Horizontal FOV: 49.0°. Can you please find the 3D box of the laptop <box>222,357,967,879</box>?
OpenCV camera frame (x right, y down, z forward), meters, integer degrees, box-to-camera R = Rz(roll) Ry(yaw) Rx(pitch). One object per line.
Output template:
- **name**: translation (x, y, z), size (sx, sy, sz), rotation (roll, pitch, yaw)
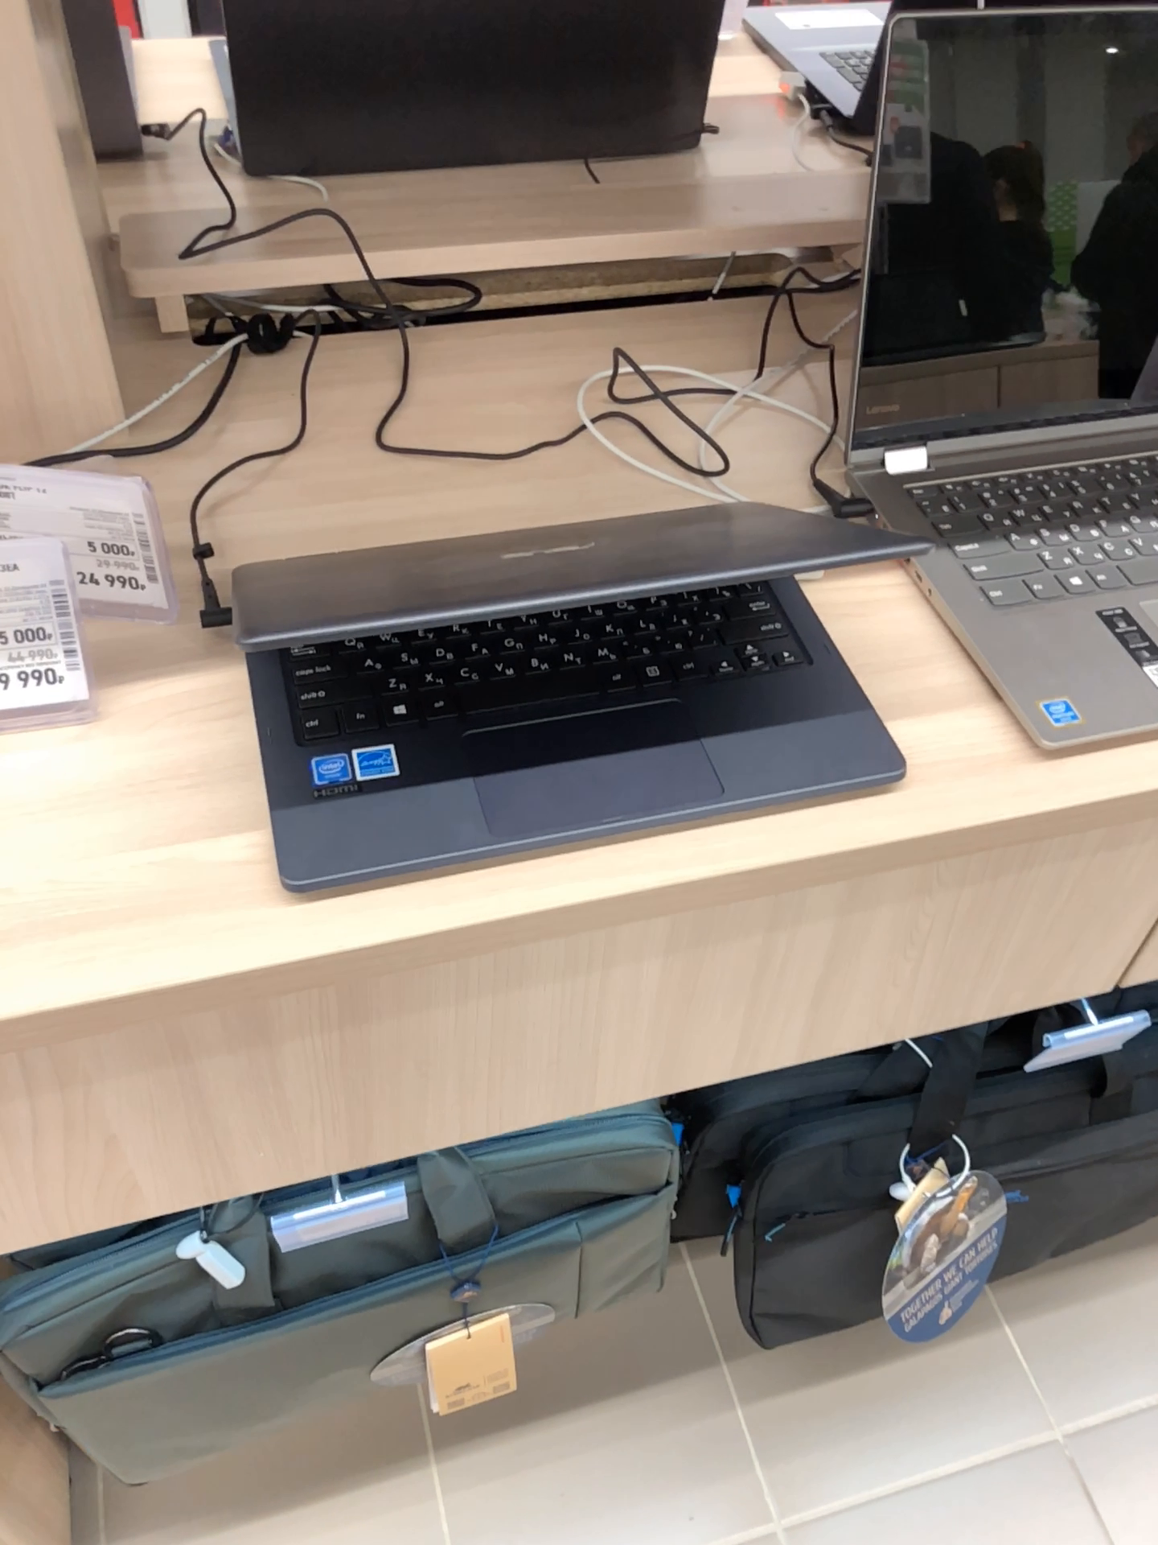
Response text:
- **laptop**: translation (-0.005, -0.080, 0.563), size (0.272, 0.097, 0.185), rotation (-10, 49, -13)
